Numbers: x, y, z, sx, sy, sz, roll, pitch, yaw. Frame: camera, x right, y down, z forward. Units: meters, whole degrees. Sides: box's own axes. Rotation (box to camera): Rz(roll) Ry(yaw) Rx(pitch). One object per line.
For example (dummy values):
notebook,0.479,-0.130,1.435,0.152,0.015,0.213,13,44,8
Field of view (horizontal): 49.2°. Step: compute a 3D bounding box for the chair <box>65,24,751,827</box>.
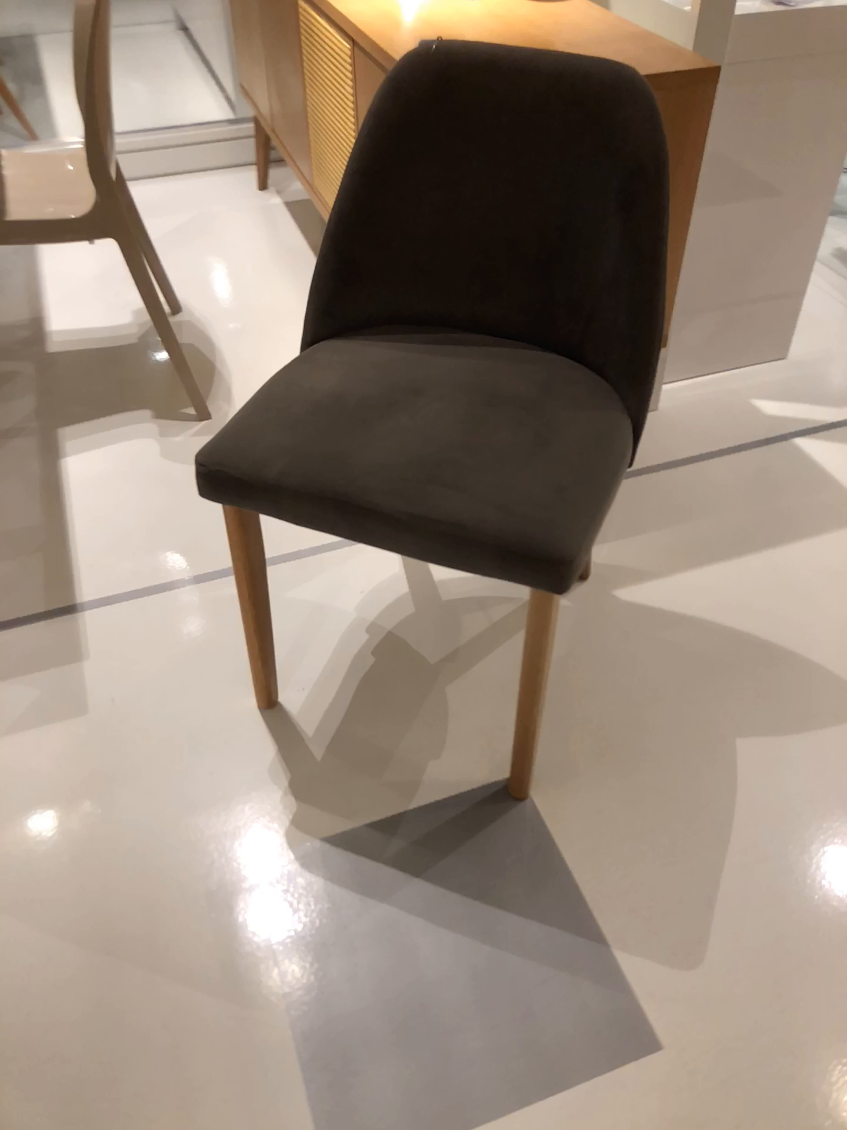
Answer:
chair,0.031,-0.189,1.219,0.531,0.774,0.564,15,45,18
